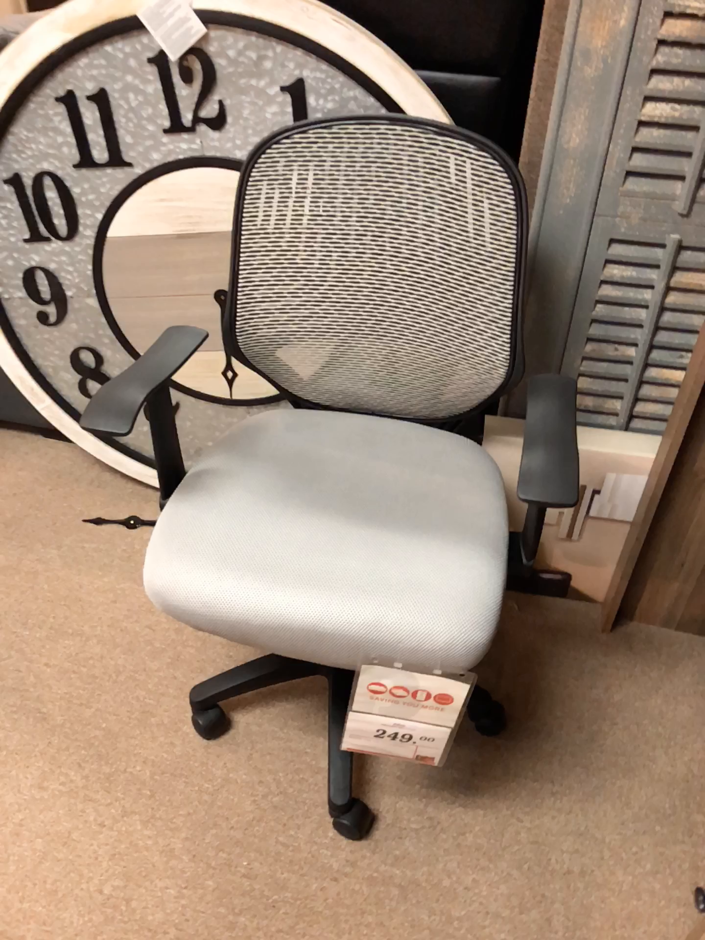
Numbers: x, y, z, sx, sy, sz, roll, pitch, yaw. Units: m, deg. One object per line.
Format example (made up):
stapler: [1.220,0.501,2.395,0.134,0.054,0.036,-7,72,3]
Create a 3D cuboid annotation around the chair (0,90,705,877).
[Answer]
chair: [0.009,0.010,1.143,0.610,0.864,0.674,8,39,6]
